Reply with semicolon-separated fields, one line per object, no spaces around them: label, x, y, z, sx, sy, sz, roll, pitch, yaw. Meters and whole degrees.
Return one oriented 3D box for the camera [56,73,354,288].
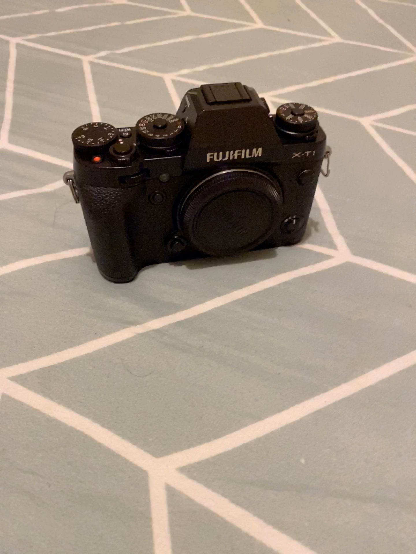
camera;-0.004;-0.051;0.234;0.130;0.087;0.052;-8;50;-8
